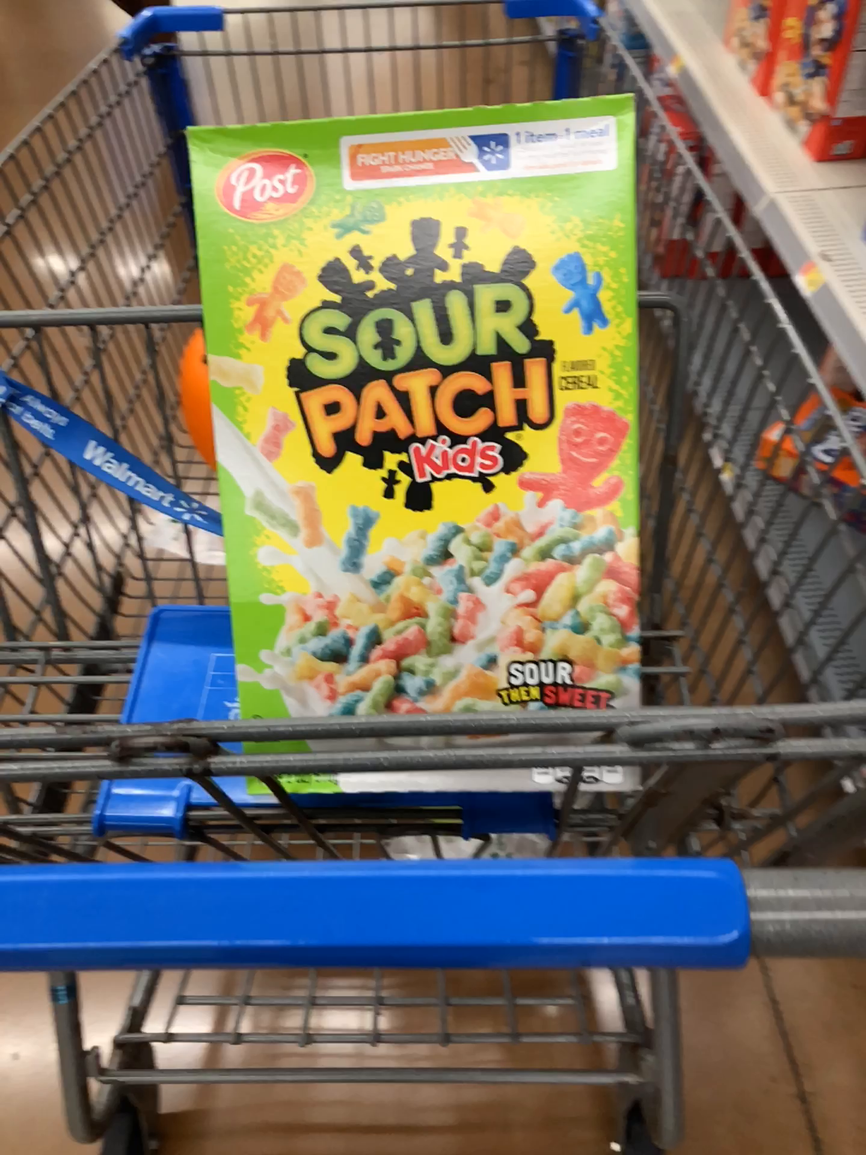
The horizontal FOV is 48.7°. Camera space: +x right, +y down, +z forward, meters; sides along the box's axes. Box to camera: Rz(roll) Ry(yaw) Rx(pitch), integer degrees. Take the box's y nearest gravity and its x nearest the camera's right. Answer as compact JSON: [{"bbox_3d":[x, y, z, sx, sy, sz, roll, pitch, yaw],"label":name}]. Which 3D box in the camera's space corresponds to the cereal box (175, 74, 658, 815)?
[{"bbox_3d":[0.001,-0.052,0.466,0.200,0.320,0.080,-2,11,5],"label":"cereal box"}]
